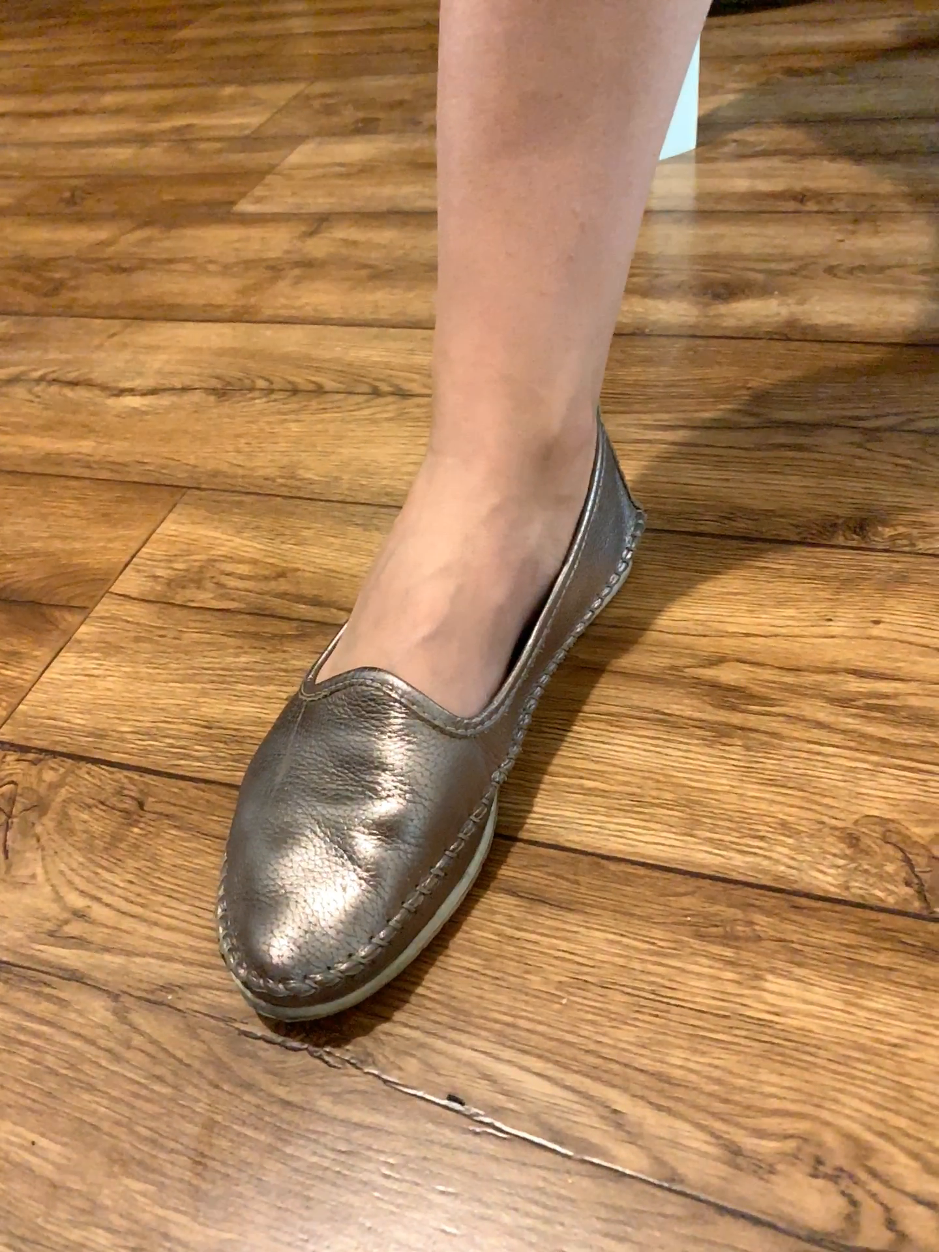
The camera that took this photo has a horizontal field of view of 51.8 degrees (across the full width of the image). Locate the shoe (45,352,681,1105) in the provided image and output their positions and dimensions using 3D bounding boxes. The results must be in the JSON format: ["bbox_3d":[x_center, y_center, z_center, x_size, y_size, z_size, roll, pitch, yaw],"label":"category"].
[{"bbox_3d":[-0.016,0.016,0.323,0.095,0.070,0.231,15,59,25],"label":"shoe"}]
